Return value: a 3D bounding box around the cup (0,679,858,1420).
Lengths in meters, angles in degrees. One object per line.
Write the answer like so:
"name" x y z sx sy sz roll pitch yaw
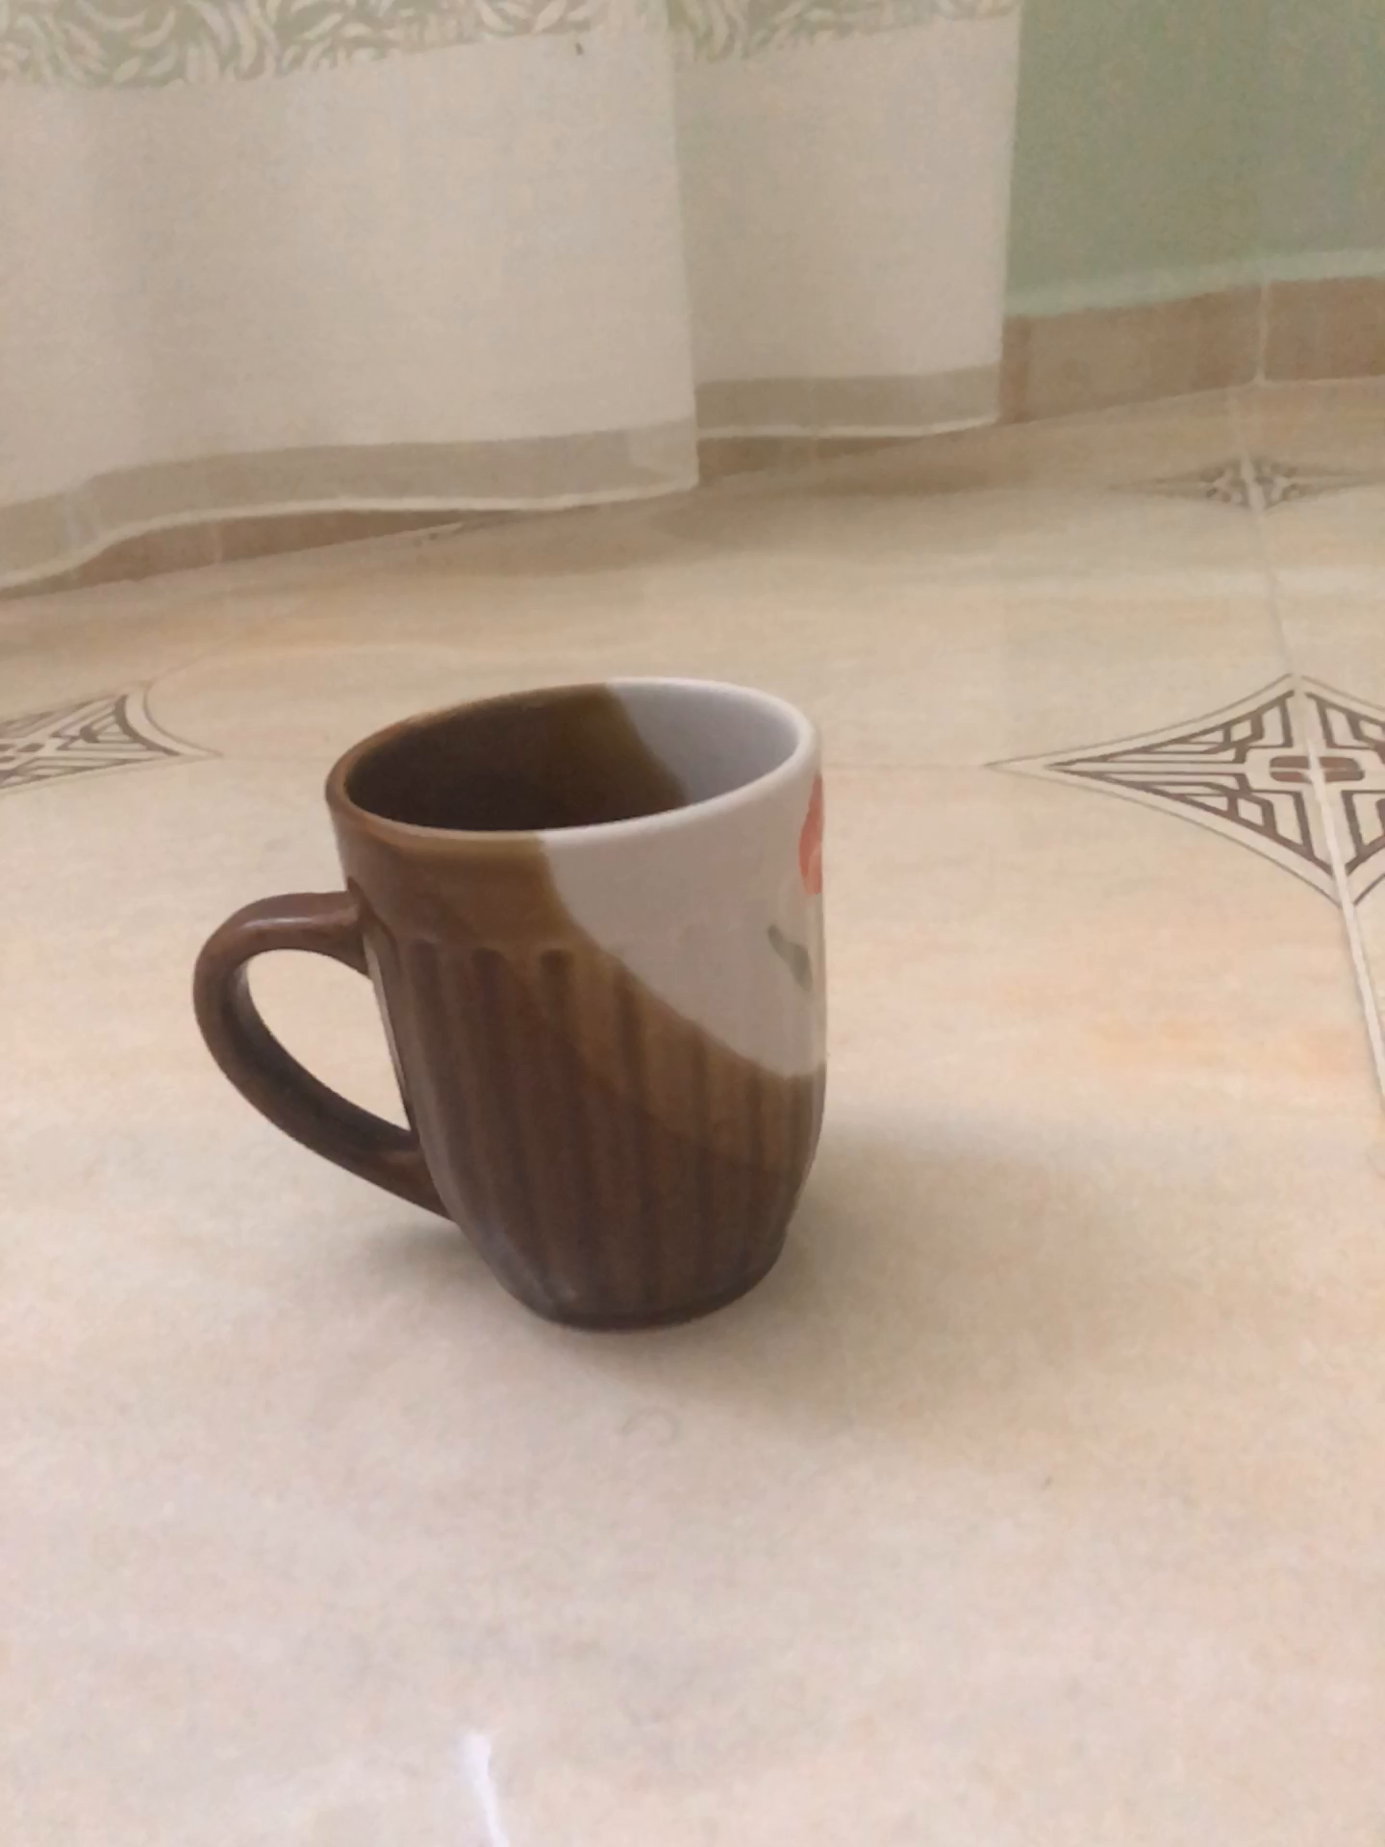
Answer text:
"cup" -0.034 0.013 0.250 0.103 0.086 0.076 3 25 19
